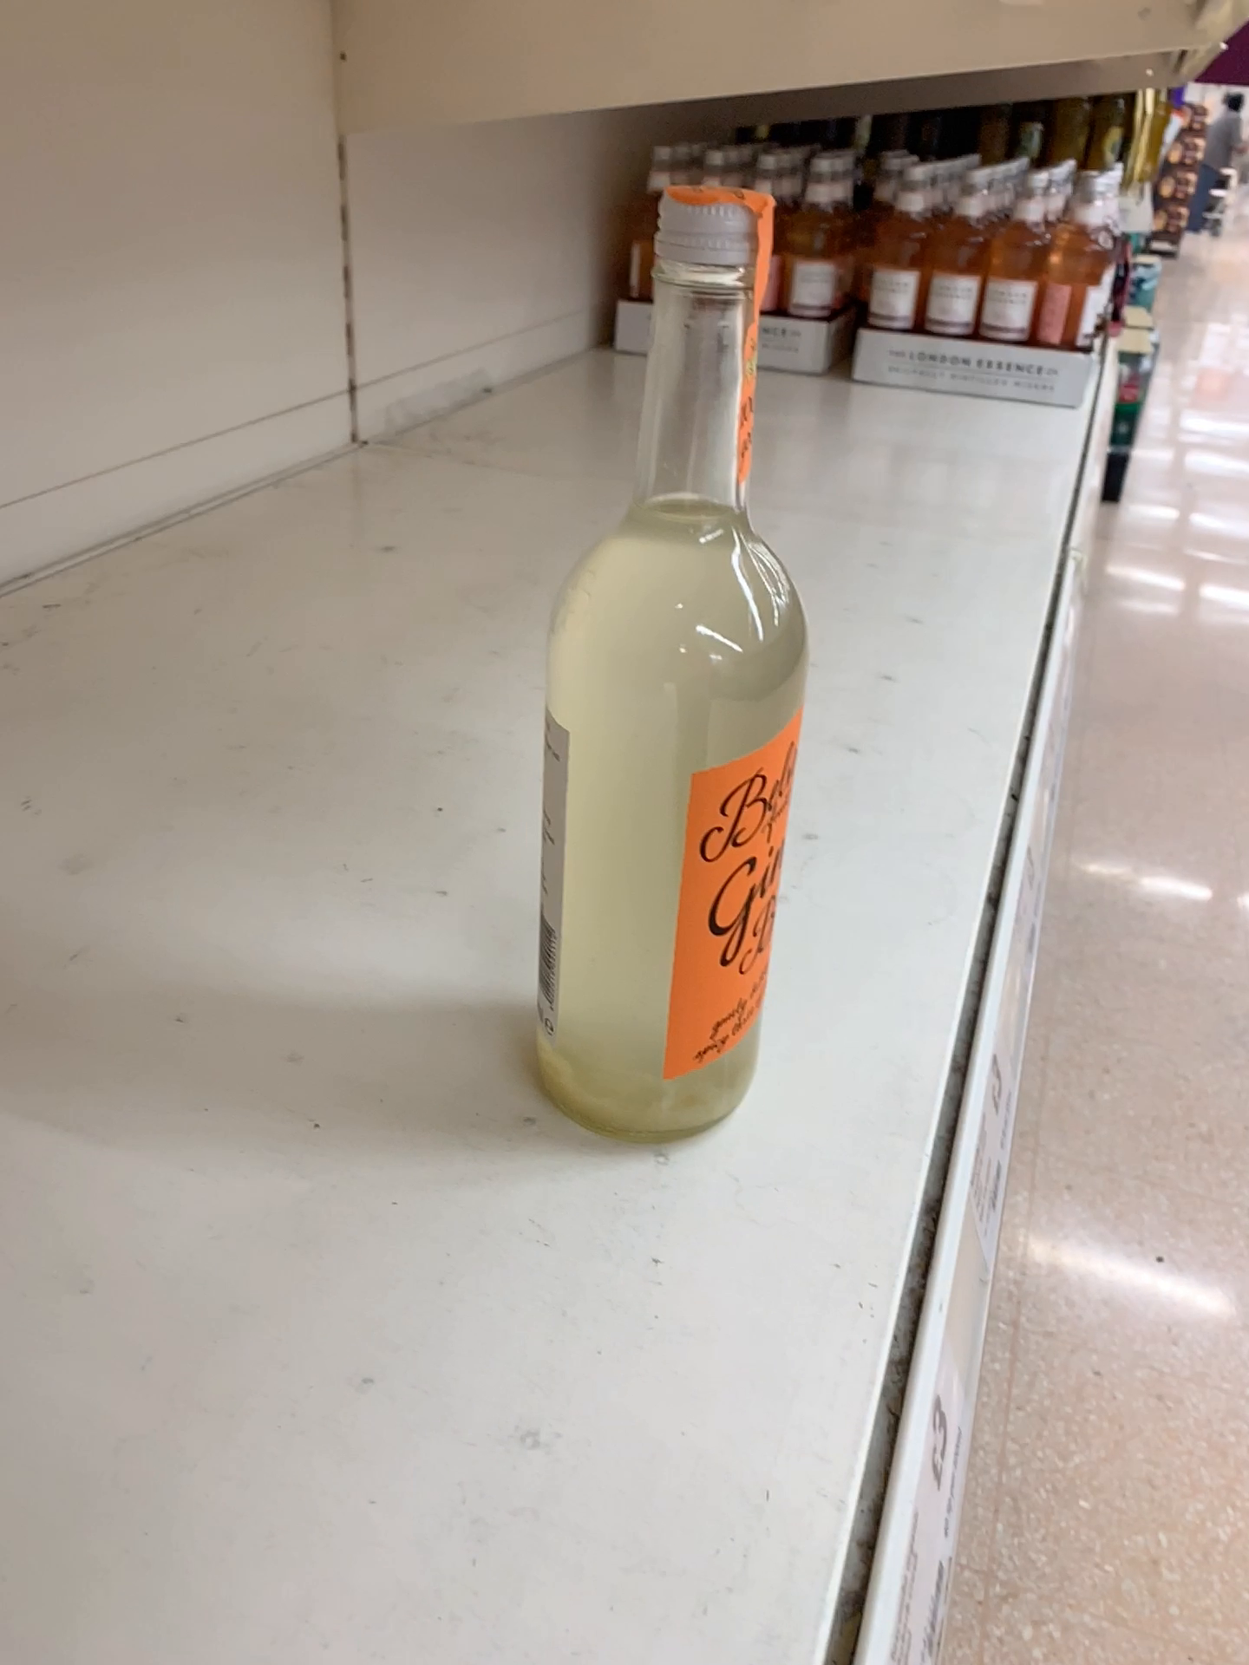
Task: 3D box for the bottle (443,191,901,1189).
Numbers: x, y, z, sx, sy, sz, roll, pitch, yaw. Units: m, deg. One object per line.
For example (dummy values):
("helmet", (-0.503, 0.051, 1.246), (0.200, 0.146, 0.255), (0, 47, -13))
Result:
("bottle", (0.008, -0.037, 0.392), (0.090, 0.277, 0.084), (3, 29, -1))
